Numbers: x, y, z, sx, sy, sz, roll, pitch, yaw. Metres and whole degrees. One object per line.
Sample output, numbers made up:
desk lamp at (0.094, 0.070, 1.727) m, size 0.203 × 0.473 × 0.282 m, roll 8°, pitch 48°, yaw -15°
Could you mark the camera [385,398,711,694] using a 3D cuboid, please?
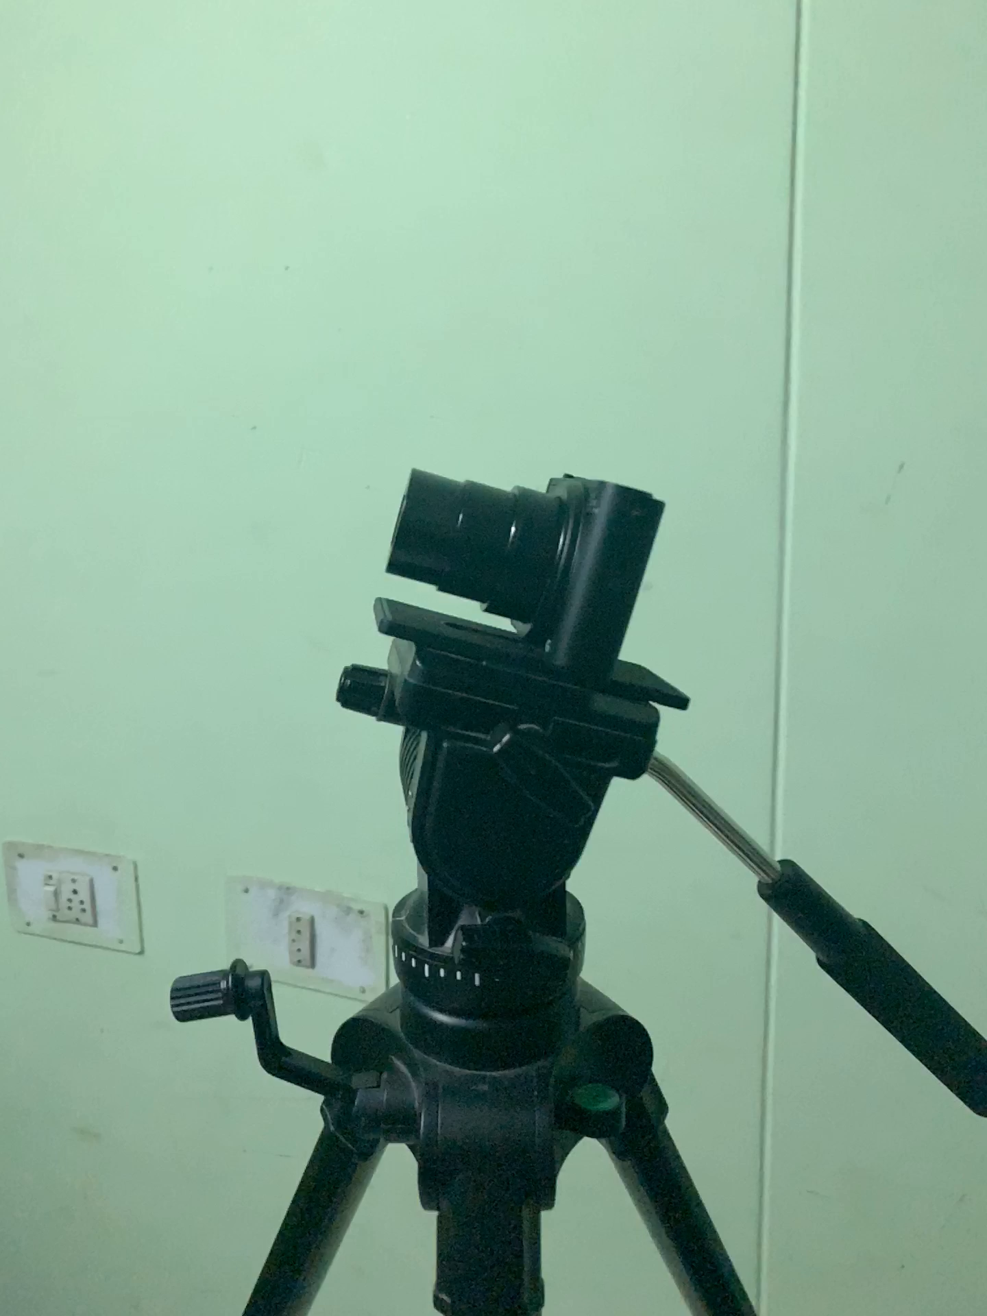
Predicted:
camera at (0.009, -0.037, 0.312) m, size 0.067 × 0.060 × 0.102 m, roll 15°, pitch 8°, yaw -10°
